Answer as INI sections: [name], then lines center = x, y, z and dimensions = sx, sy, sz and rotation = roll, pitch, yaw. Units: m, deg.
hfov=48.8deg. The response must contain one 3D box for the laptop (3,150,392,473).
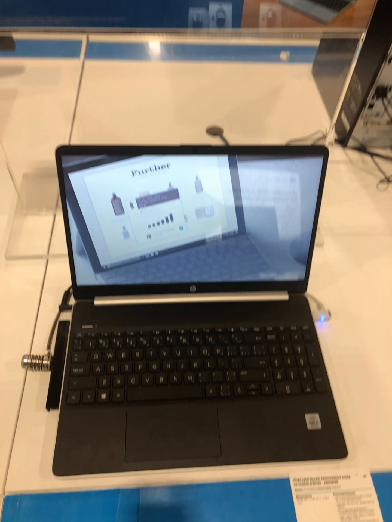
[laptop]
center = 0.006, 0.048, 0.537
dimensions = 0.346, 0.196, 0.335
rotation = -1, 52, -5
